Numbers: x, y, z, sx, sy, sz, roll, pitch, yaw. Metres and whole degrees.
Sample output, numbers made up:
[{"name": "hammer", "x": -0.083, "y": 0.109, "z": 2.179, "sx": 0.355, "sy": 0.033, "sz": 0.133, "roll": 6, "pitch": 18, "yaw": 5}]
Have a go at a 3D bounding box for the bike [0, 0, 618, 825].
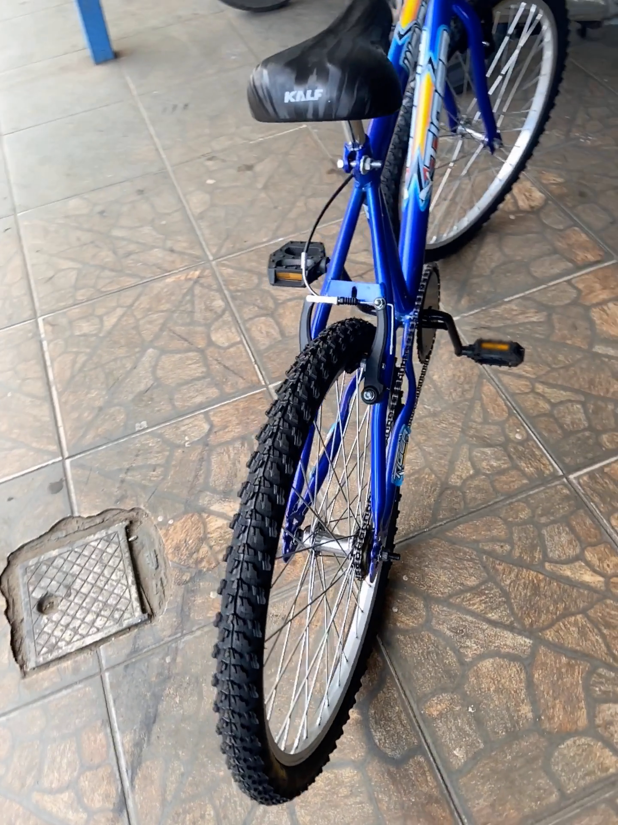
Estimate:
[{"name": "bike", "x": 0.172, "y": -0.300, "z": 0.883, "sx": 0.622, "sy": 0.924, "sz": 1.493, "roll": 16, "pitch": 60, "yaw": 15}]
